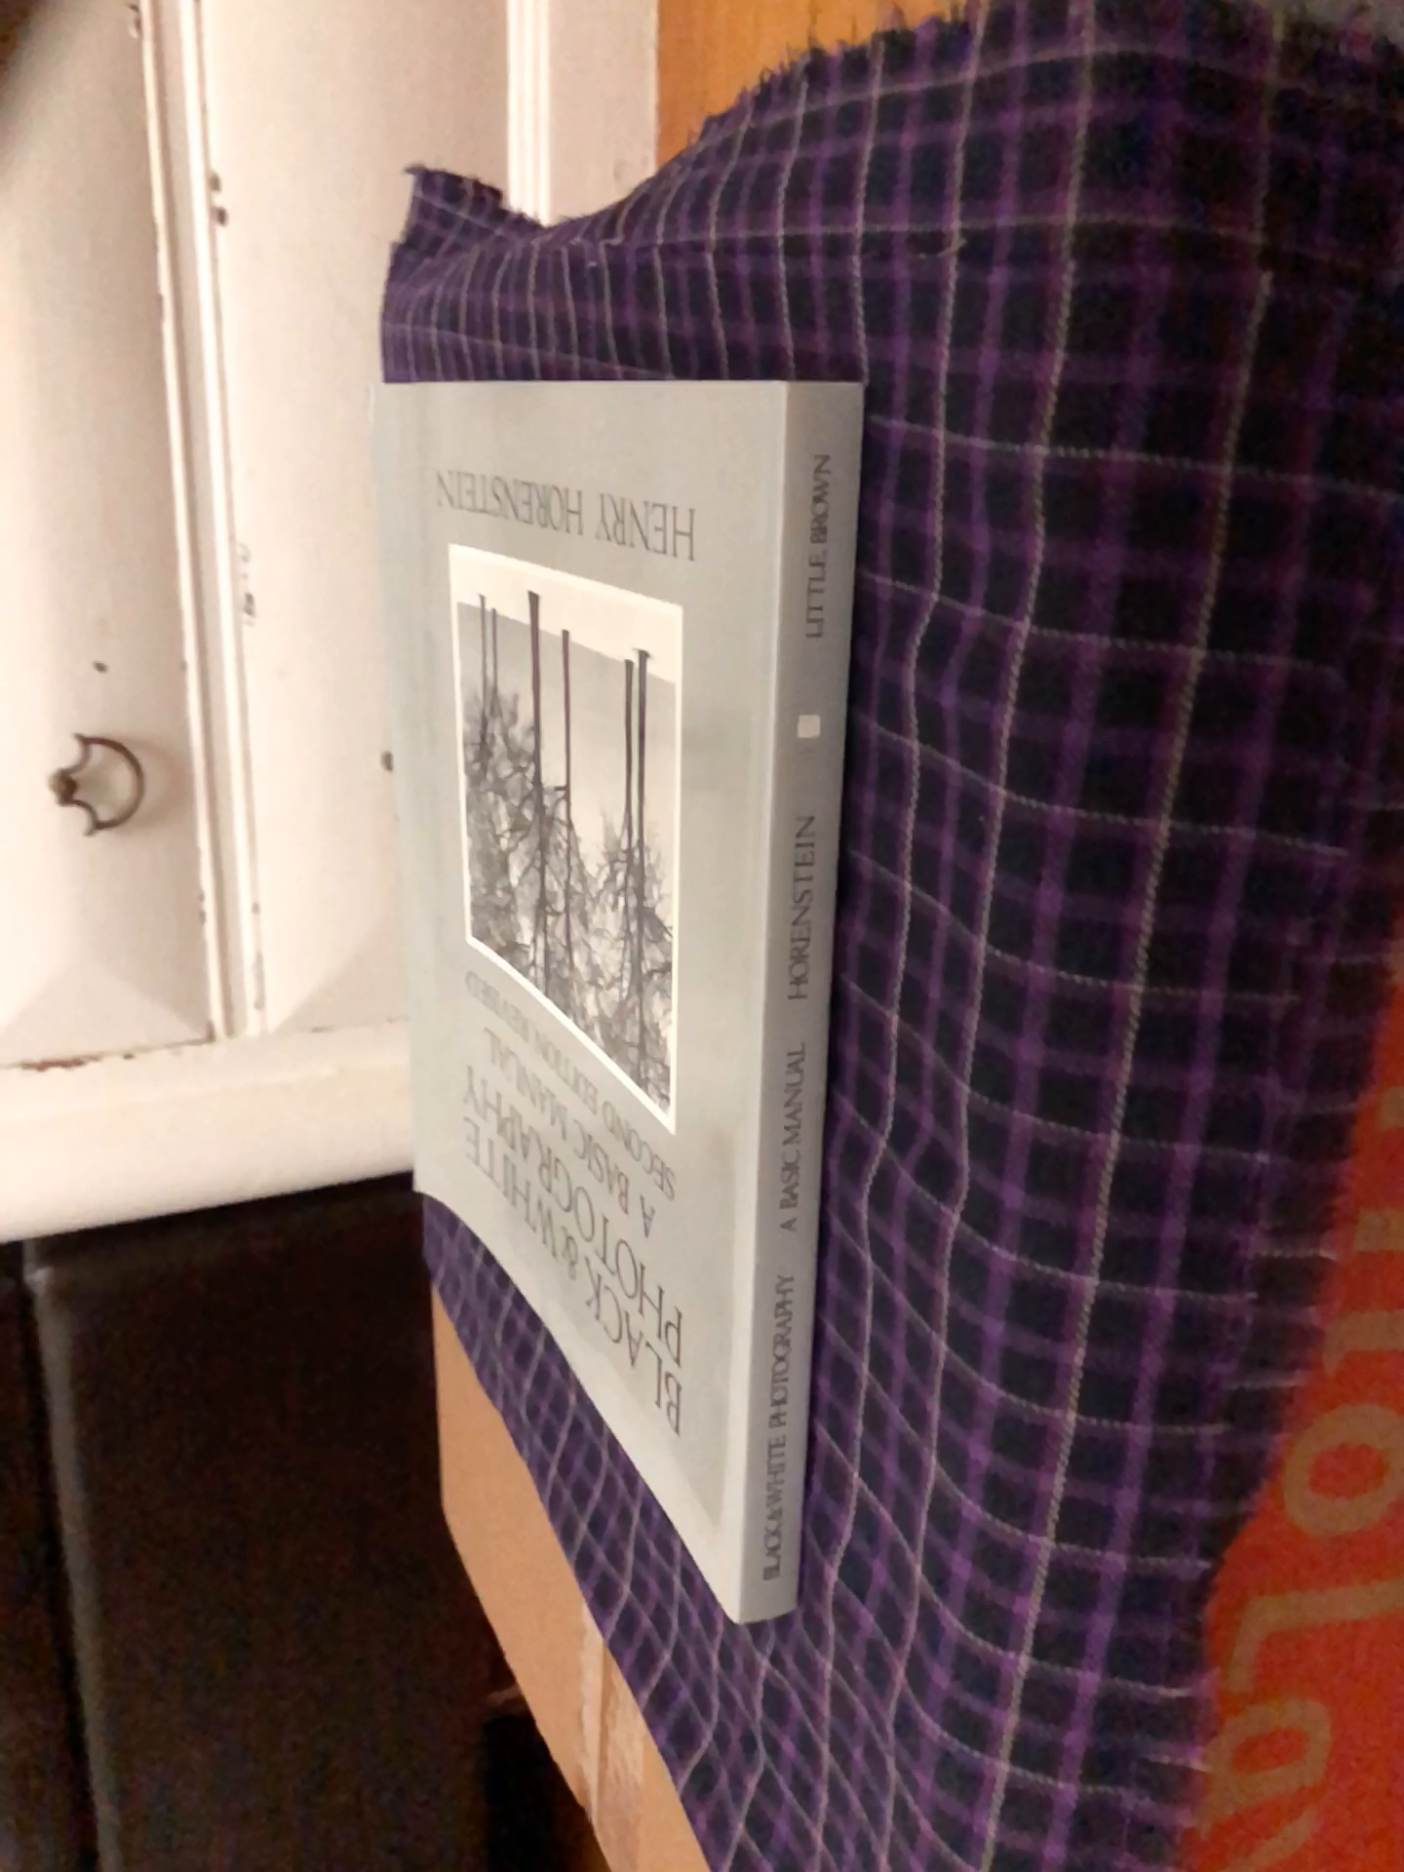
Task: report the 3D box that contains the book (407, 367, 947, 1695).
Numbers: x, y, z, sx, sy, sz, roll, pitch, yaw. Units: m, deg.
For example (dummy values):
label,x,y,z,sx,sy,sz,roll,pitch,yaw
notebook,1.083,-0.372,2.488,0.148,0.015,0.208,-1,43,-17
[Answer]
label,x,y,z,sx,sy,sz,roll,pitch,yaw
book,-0.023,0.001,0.367,0.211,0.030,0.250,-145,52,-59
